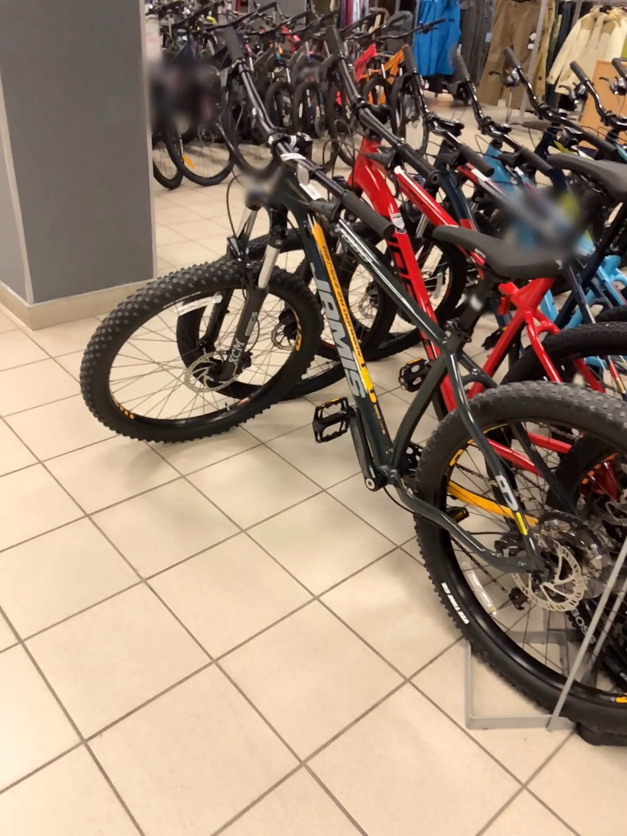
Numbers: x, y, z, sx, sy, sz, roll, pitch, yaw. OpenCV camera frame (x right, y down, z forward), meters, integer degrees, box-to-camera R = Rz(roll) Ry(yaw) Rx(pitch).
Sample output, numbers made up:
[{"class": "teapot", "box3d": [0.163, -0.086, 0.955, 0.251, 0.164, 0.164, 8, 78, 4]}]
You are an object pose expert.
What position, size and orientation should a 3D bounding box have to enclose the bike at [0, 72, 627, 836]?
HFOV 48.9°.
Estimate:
[{"class": "bike", "box3d": [0.105, 0.001, 1.415, 1.544, 1.166, 0.810, 24, 36, 30]}]
